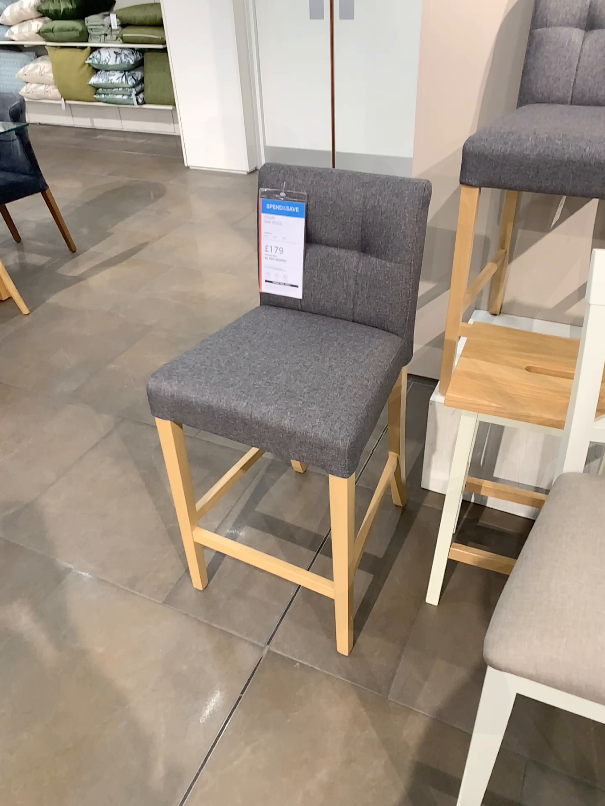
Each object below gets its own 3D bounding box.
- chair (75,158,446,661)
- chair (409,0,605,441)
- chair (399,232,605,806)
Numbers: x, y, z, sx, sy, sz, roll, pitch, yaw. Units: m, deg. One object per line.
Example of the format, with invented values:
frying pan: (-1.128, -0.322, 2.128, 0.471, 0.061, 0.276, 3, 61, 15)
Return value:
chair: (-0.031, 0.006, 1.387, 0.487, 0.908, 0.522, 14, 39, 23)
chair: (0.627, -0.495, 1.457, 0.547, 0.918, 0.542, 14, 38, 22)
chair: (0.485, 0.327, 0.887, 0.507, 0.938, 0.502, 14, 38, 22)
